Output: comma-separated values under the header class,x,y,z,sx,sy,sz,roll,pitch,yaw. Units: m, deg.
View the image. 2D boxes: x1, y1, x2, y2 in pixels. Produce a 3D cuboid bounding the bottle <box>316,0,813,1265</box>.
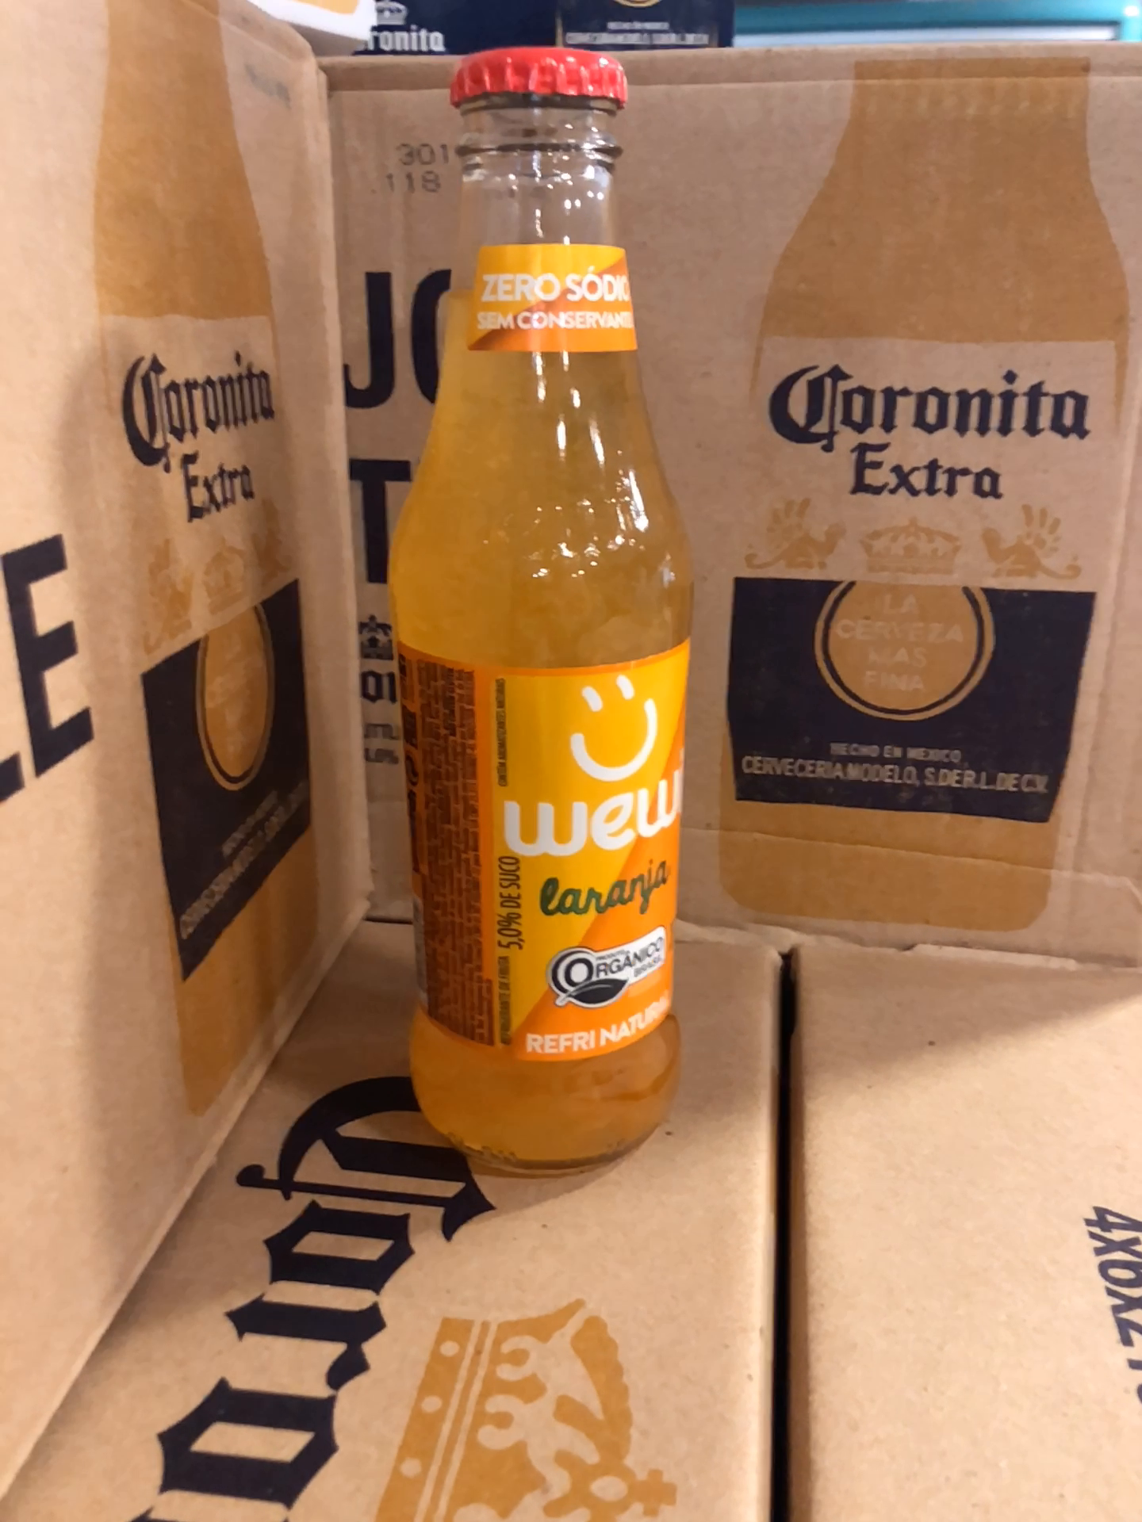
class,x,y,z,sx,sy,sz,roll,pitch,yaw
bottle,-0.003,-0.020,0.242,0.060,0.209,0.060,0,18,0
